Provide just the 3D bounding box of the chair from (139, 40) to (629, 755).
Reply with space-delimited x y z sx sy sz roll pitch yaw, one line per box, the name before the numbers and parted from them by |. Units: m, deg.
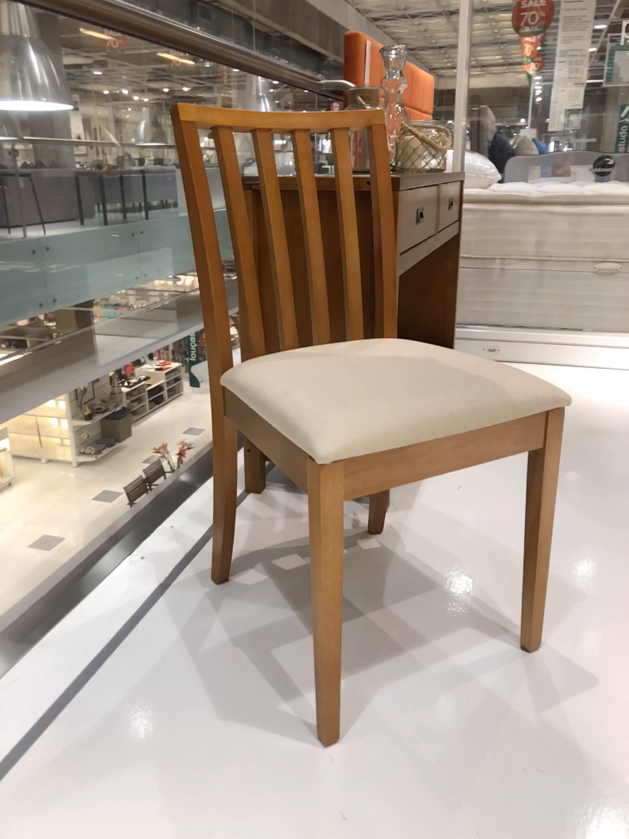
chair | 0.104 -0.084 1.122 0.541 0.835 0.552 -12 22 -29
